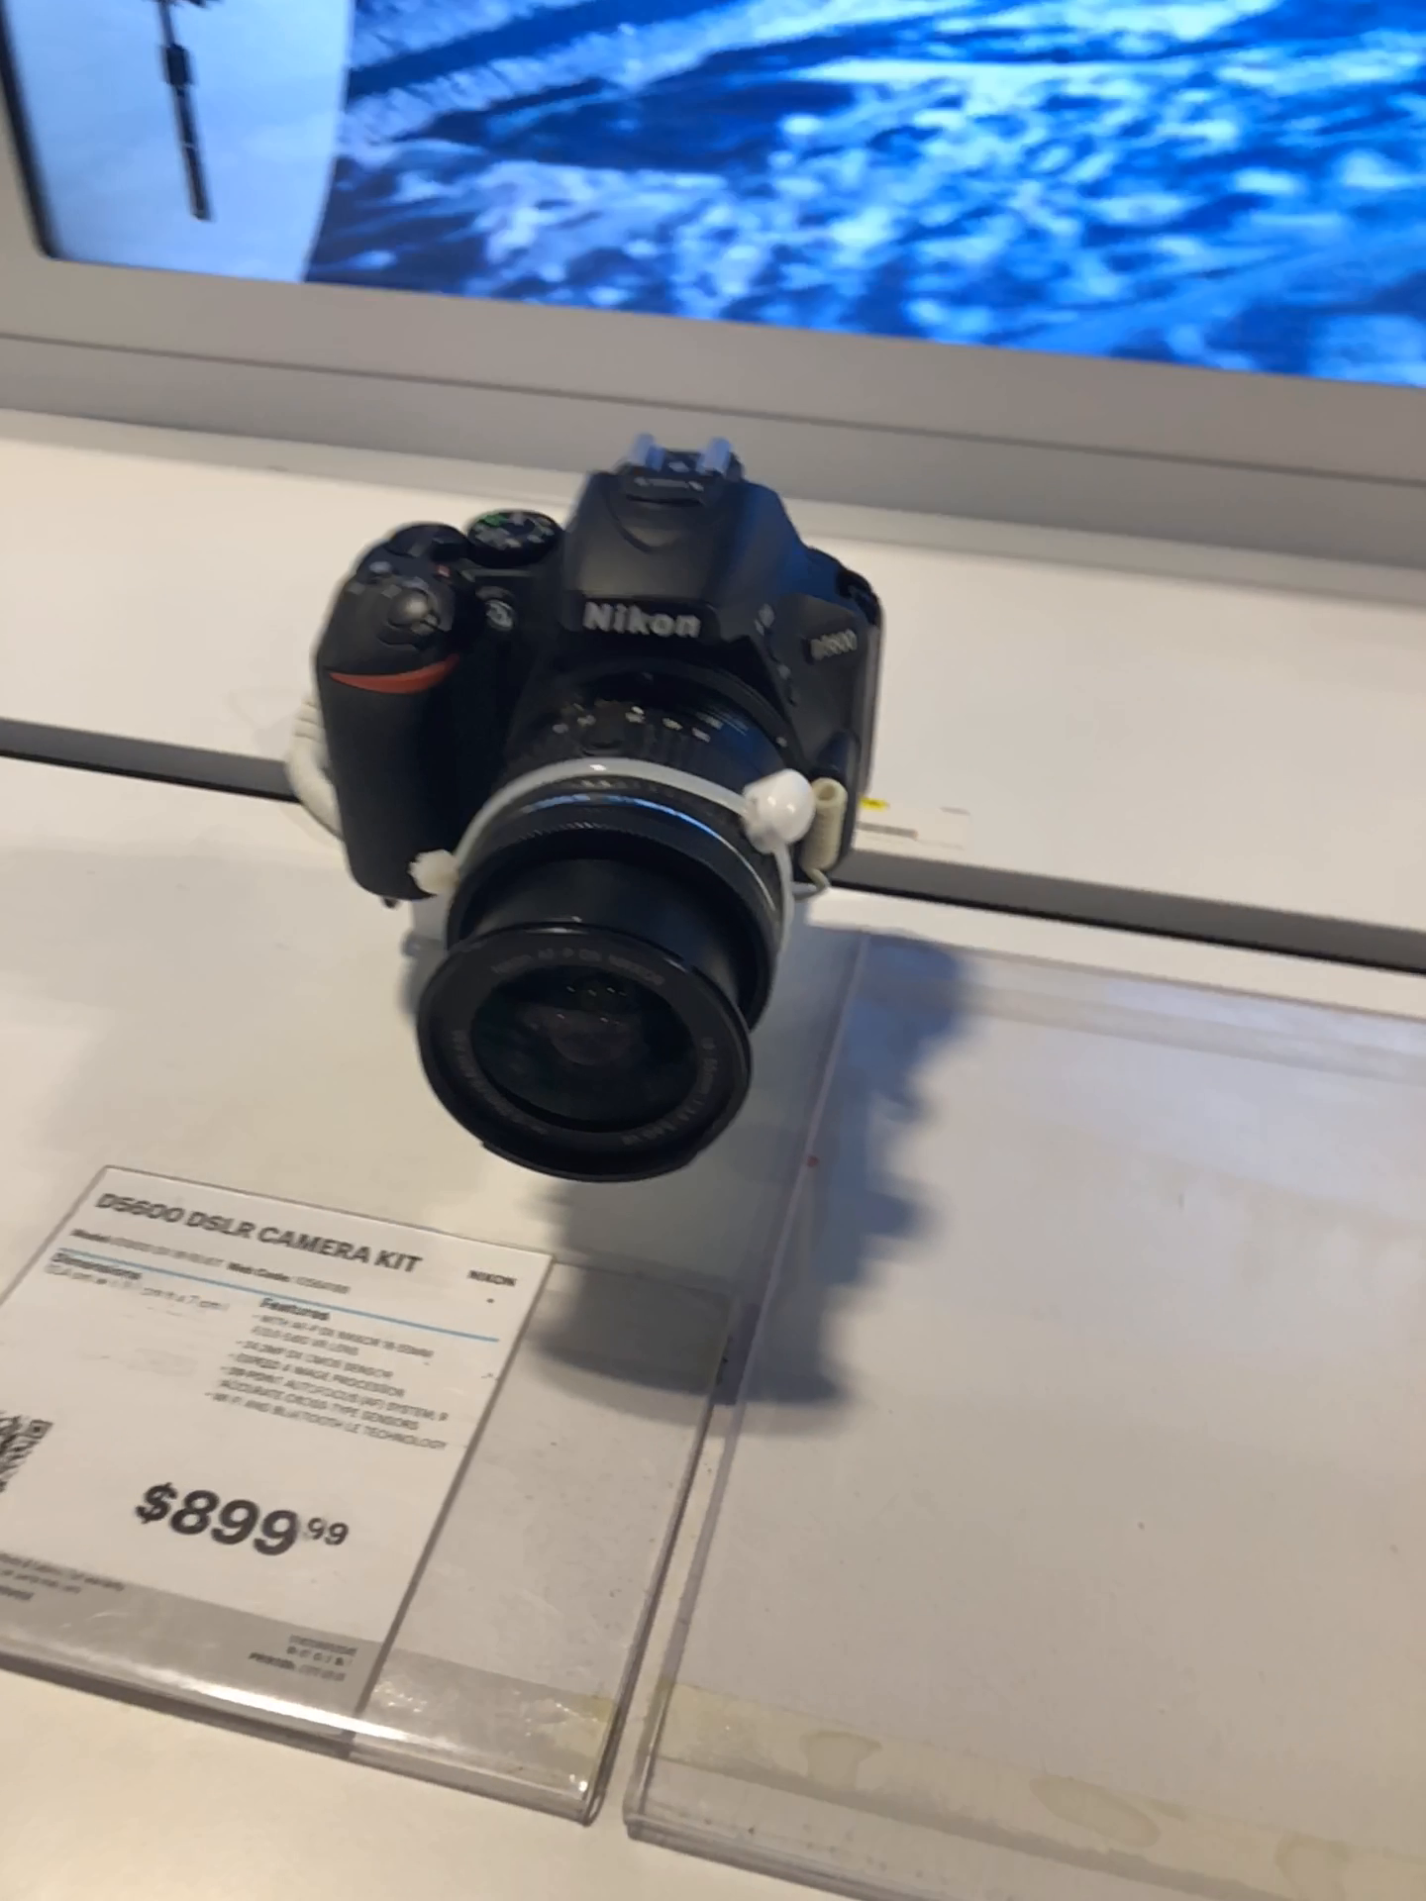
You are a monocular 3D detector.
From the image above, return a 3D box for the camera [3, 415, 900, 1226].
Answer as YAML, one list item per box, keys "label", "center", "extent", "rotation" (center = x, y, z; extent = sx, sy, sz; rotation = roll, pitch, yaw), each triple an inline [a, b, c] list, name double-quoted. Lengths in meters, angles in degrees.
- label: "camera"
  center: [-0.034, -0.035, 0.312]
  extent: [0.130, 0.089, 0.141]
  rotation: [5, 37, 5]
